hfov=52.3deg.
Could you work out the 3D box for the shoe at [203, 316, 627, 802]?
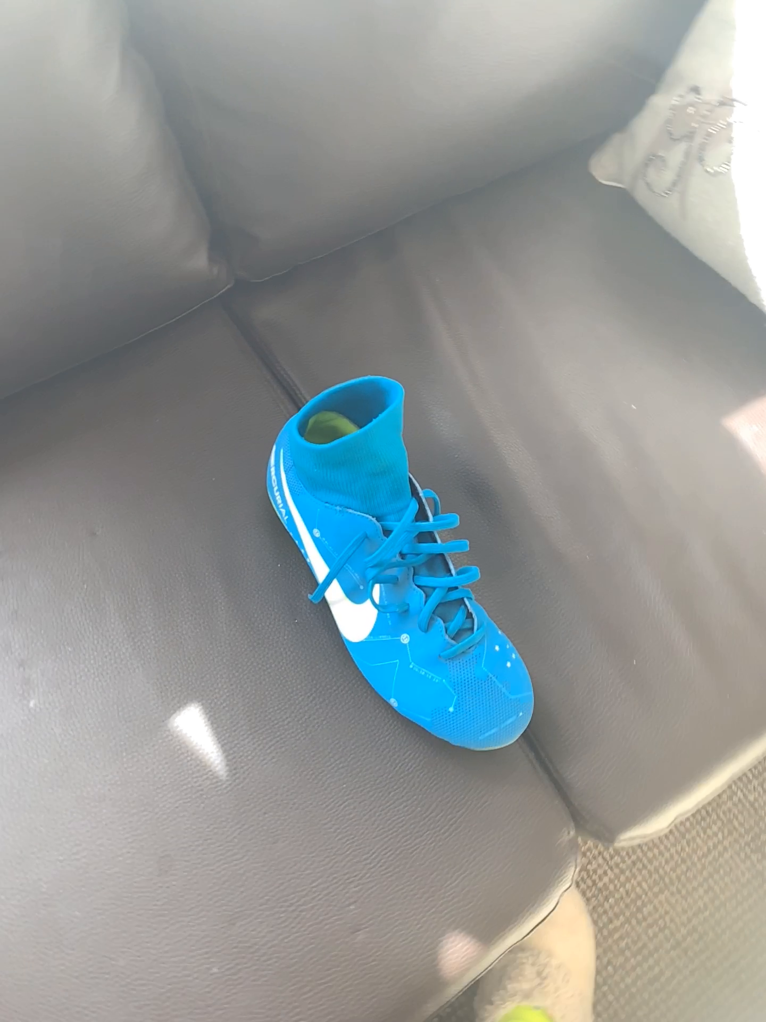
[{"bbox_3d":[0.006,0.030,0.463,0.098,0.119,0.251,-31,73,-16],"label":"shoe"}]
